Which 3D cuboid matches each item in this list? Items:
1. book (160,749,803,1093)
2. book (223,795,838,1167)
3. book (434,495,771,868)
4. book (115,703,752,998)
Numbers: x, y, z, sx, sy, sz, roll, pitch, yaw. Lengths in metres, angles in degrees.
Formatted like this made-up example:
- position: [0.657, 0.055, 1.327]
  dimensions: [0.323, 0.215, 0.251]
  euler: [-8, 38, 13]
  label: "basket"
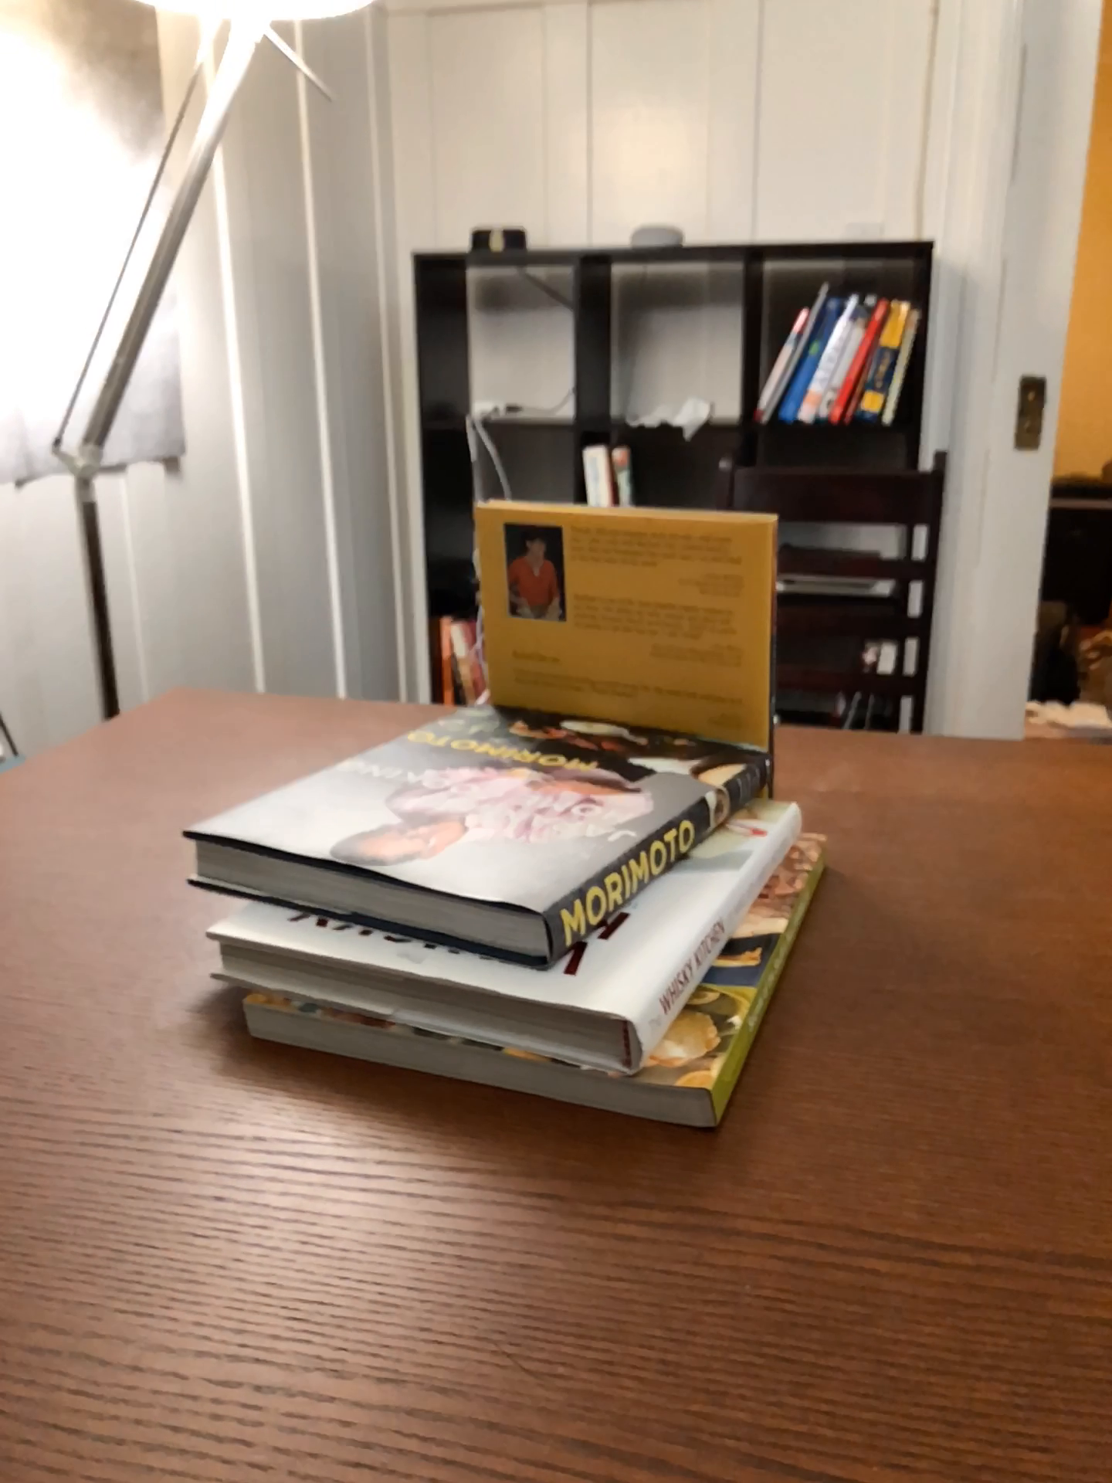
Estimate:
- position: [-0.015, 0.068, 0.621]
  dimensions: [0.220, 0.030, 0.281]
  euler: [7, 18, 22]
  label: "book"
- position: [0.010, 0.096, 0.621]
  dimensions: [0.220, 0.030, 0.281]
  euler: [6, 17, 19]
  label: "book"
- position: [0.027, -0.042, 0.765]
  dimensions: [0.210, 0.209, 0.030]
  euler: [8, 21, 29]
  label: "book"
- position: [-0.047, 0.039, 0.663]
  dimensions: [0.220, 0.030, 0.281]
  euler: [9, 19, 27]
  label: "book"
